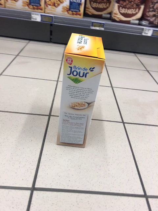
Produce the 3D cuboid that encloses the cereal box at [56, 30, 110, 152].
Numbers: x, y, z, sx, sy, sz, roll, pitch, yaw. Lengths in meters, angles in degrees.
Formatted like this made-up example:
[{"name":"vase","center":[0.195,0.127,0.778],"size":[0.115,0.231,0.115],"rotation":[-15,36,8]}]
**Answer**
[{"name":"cereal box","center":[0.004,-0.035,0.382],"size":[0.070,0.209,0.161],"rotation":[8,32,-1]}]
